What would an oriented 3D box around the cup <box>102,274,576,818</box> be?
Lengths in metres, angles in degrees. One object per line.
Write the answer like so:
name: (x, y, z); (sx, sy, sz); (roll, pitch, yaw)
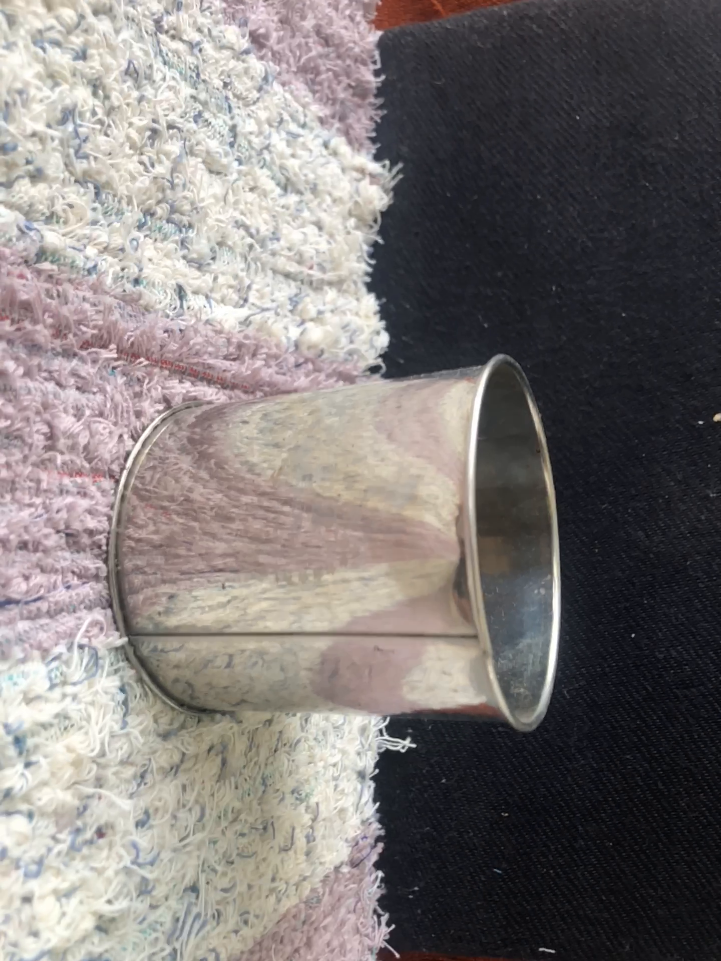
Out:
cup: (0.001, 0.014, 0.186); (0.081, 0.079, 0.090); (5, 82, -67)
